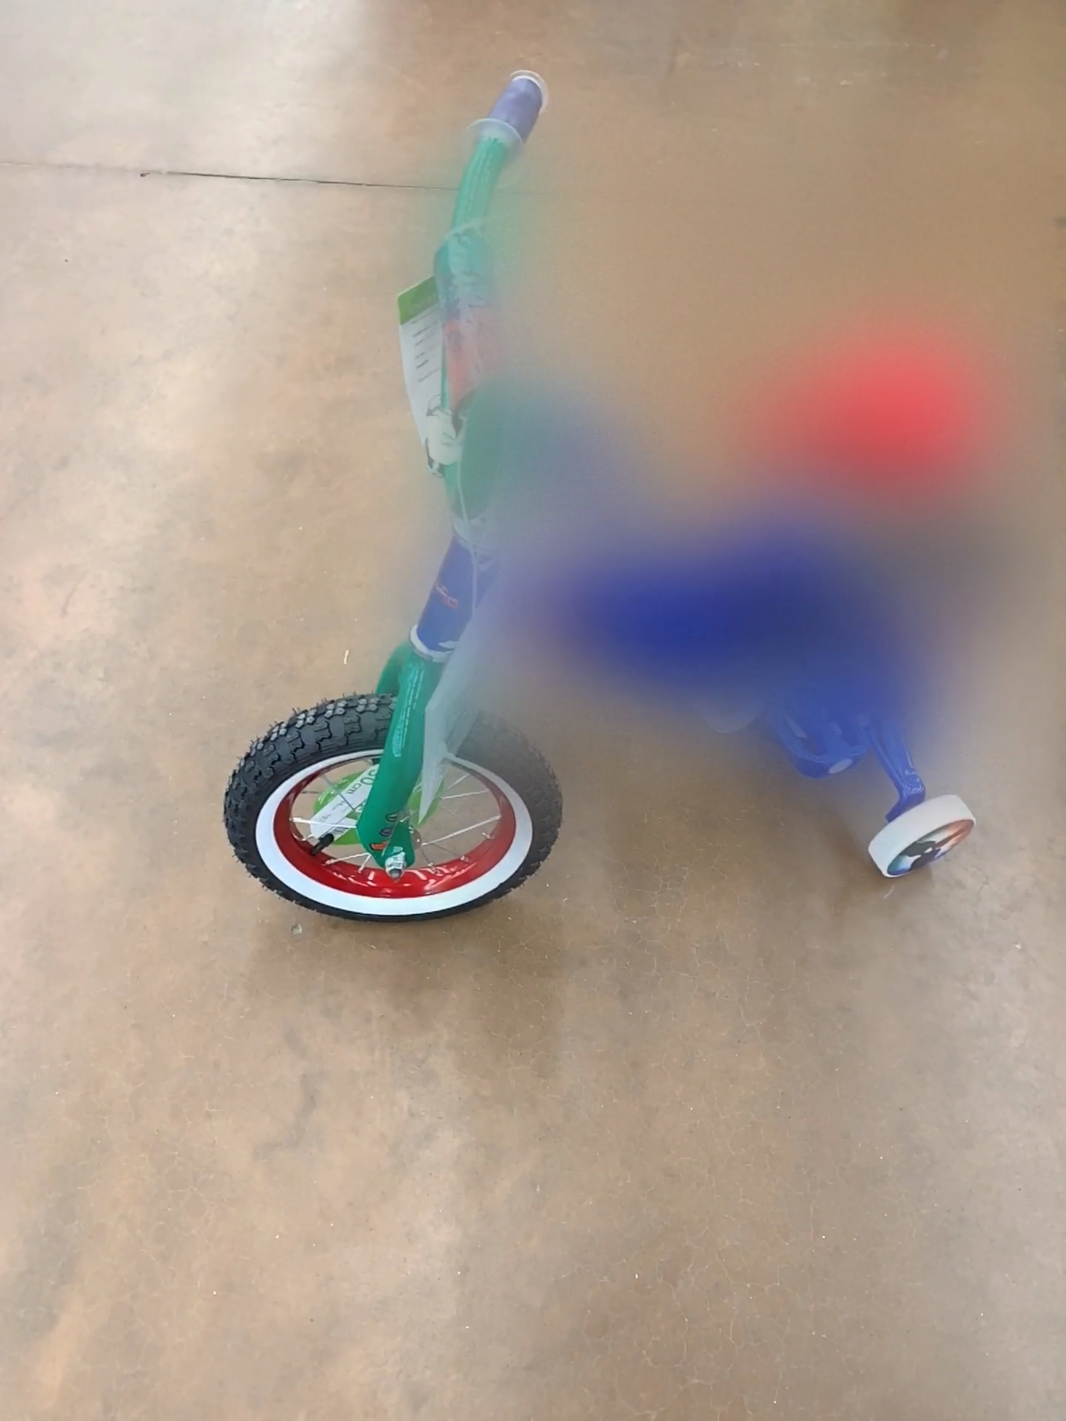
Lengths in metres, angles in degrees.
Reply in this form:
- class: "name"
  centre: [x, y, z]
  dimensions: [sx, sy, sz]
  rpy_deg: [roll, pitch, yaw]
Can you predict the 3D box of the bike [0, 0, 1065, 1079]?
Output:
- class: "bike"
  centre: [0.102, -0.140, 0.894]
  dimensions: [0.775, 0.670, 0.461]
  rpy_deg: [-16, 58, -14]
